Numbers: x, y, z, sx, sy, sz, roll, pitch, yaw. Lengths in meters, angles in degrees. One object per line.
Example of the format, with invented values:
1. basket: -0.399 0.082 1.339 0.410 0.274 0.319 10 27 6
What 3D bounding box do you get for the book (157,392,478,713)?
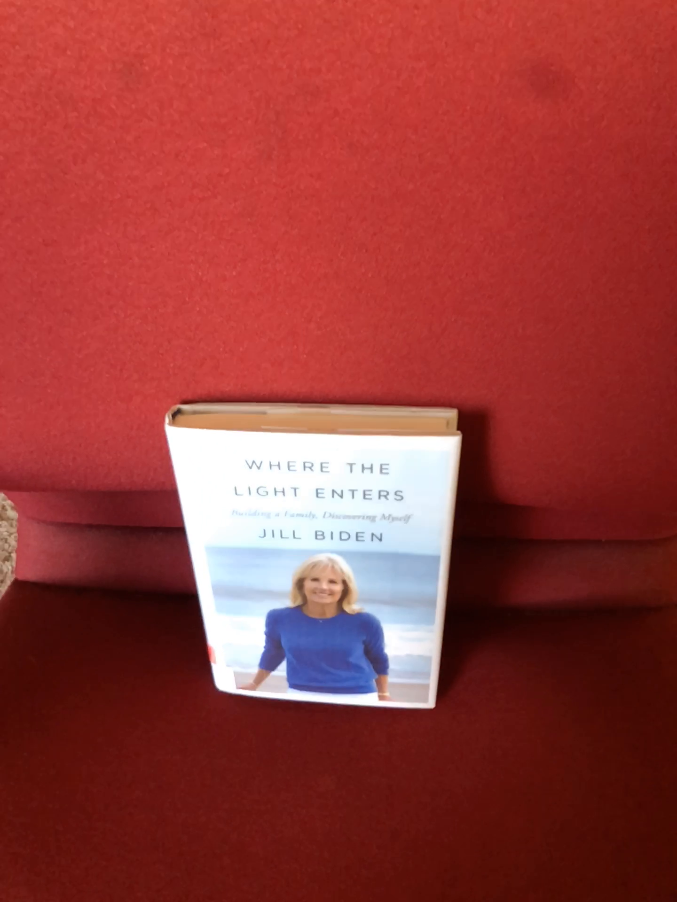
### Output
1. book: -0.009 0.067 0.419 0.150 0.210 0.030 3 37 4
